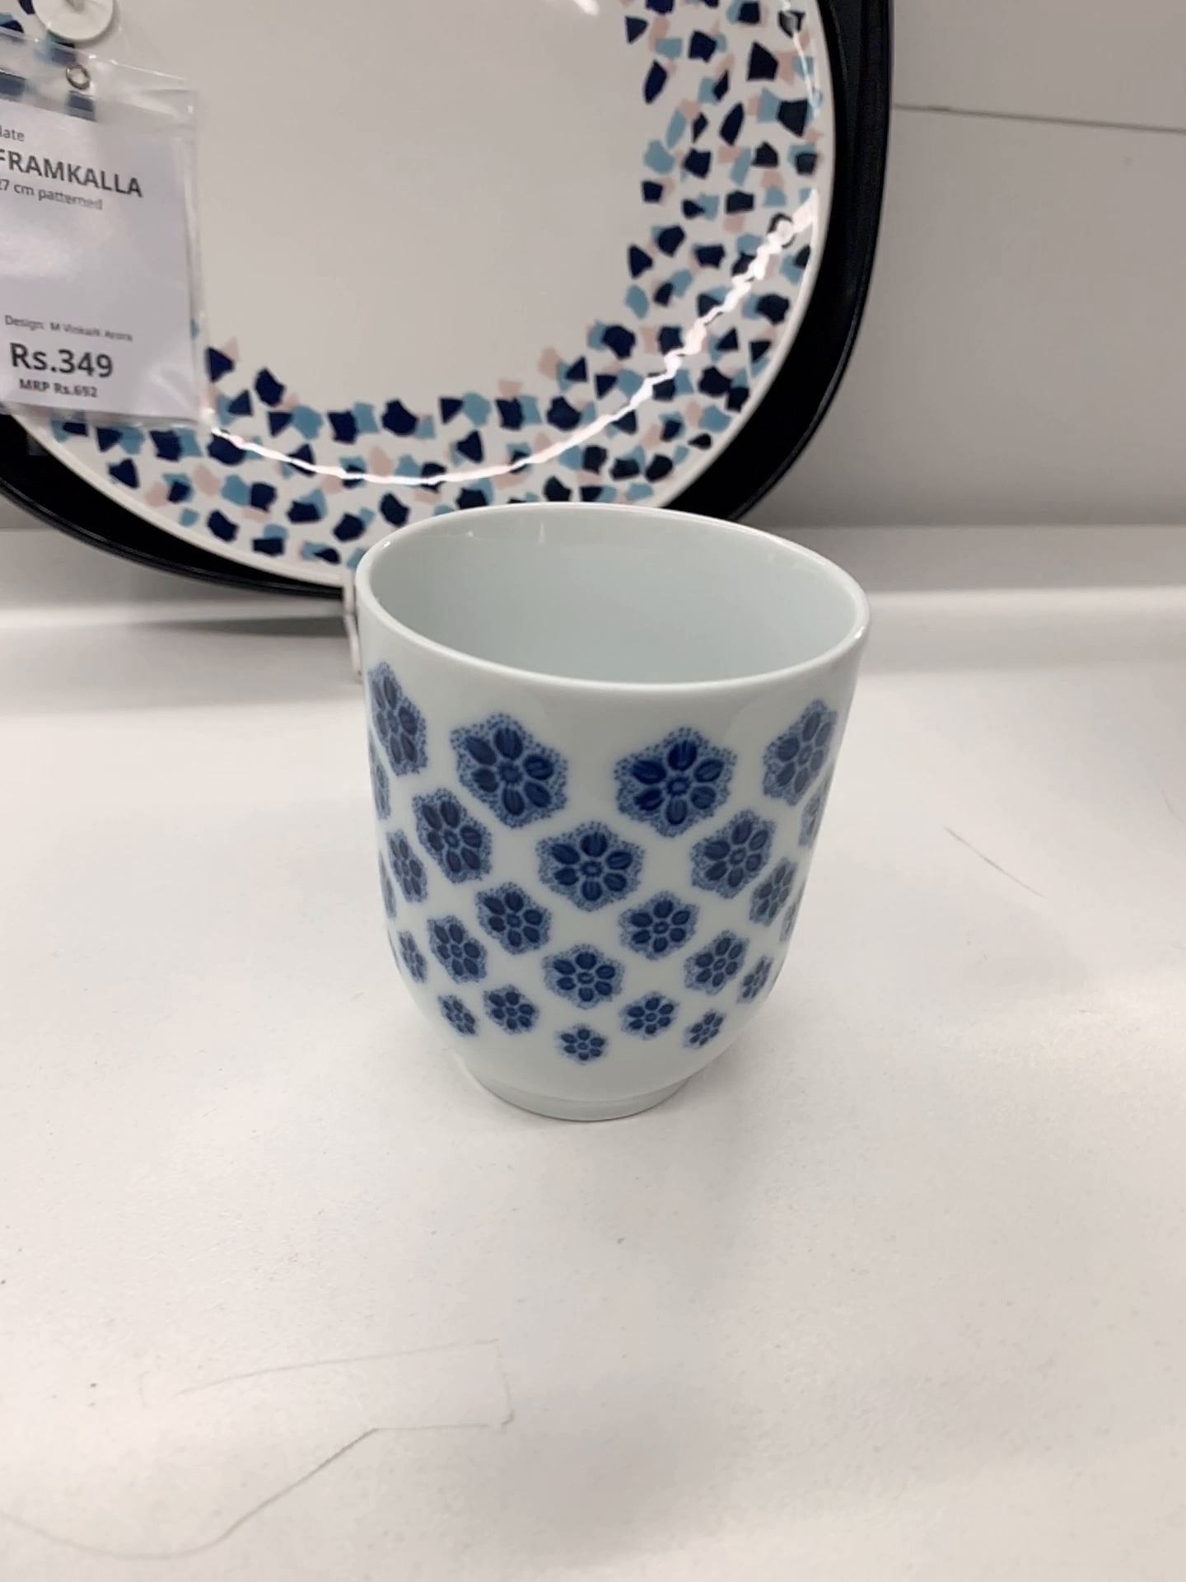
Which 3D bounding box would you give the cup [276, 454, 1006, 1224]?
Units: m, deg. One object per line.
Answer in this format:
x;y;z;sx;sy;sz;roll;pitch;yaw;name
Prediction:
0.003;-0.001;0.197;0.070;0.080;0.080;-20;36;-38;cup
